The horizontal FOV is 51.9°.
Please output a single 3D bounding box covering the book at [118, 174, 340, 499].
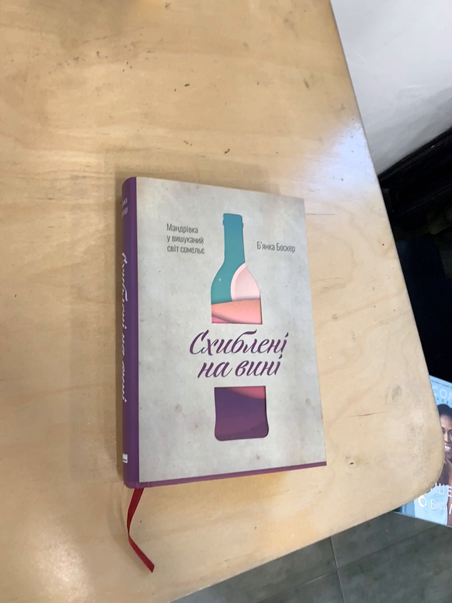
[{"bbox_3d":[-0.001,0.023,0.355,0.150,0.050,0.214,2,77,-23],"label":"book"}]
